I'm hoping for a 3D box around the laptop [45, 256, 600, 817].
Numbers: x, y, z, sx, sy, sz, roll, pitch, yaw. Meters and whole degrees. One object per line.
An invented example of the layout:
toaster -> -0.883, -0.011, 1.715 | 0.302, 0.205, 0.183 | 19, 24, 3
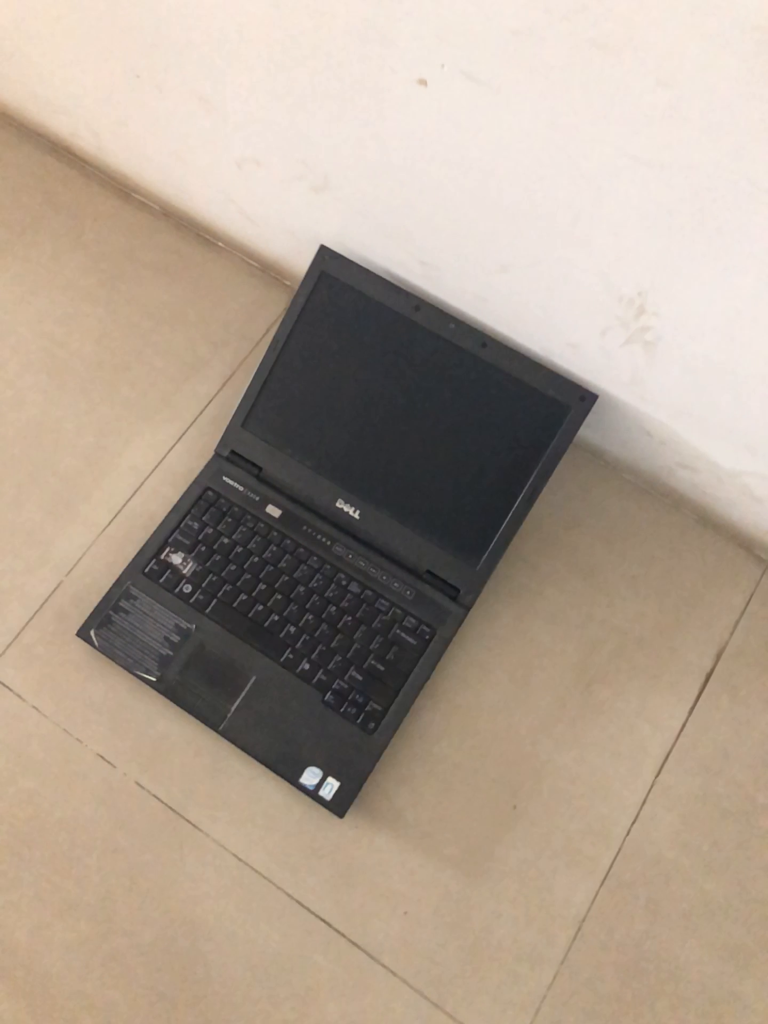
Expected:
laptop -> -0.044, 0.010, 0.800 | 0.299, 0.114, 0.433 | 31, 72, 12
